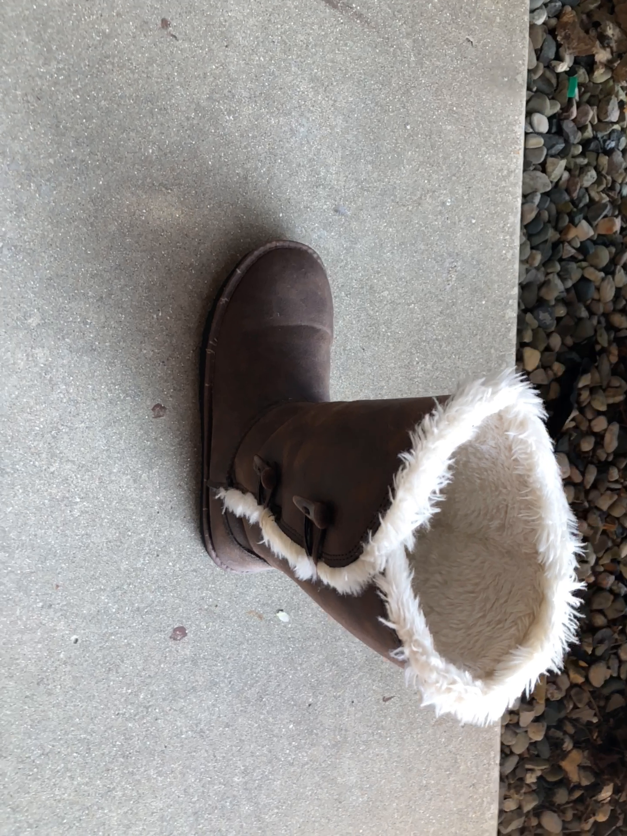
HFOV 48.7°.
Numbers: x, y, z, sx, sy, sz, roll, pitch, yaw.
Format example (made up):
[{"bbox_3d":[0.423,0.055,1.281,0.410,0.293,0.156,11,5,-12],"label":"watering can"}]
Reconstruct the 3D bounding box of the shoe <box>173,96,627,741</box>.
[{"bbox_3d":[0.035,-0.001,0.466,0.121,0.319,0.280,9,89,-30],"label":"shoe"}]
